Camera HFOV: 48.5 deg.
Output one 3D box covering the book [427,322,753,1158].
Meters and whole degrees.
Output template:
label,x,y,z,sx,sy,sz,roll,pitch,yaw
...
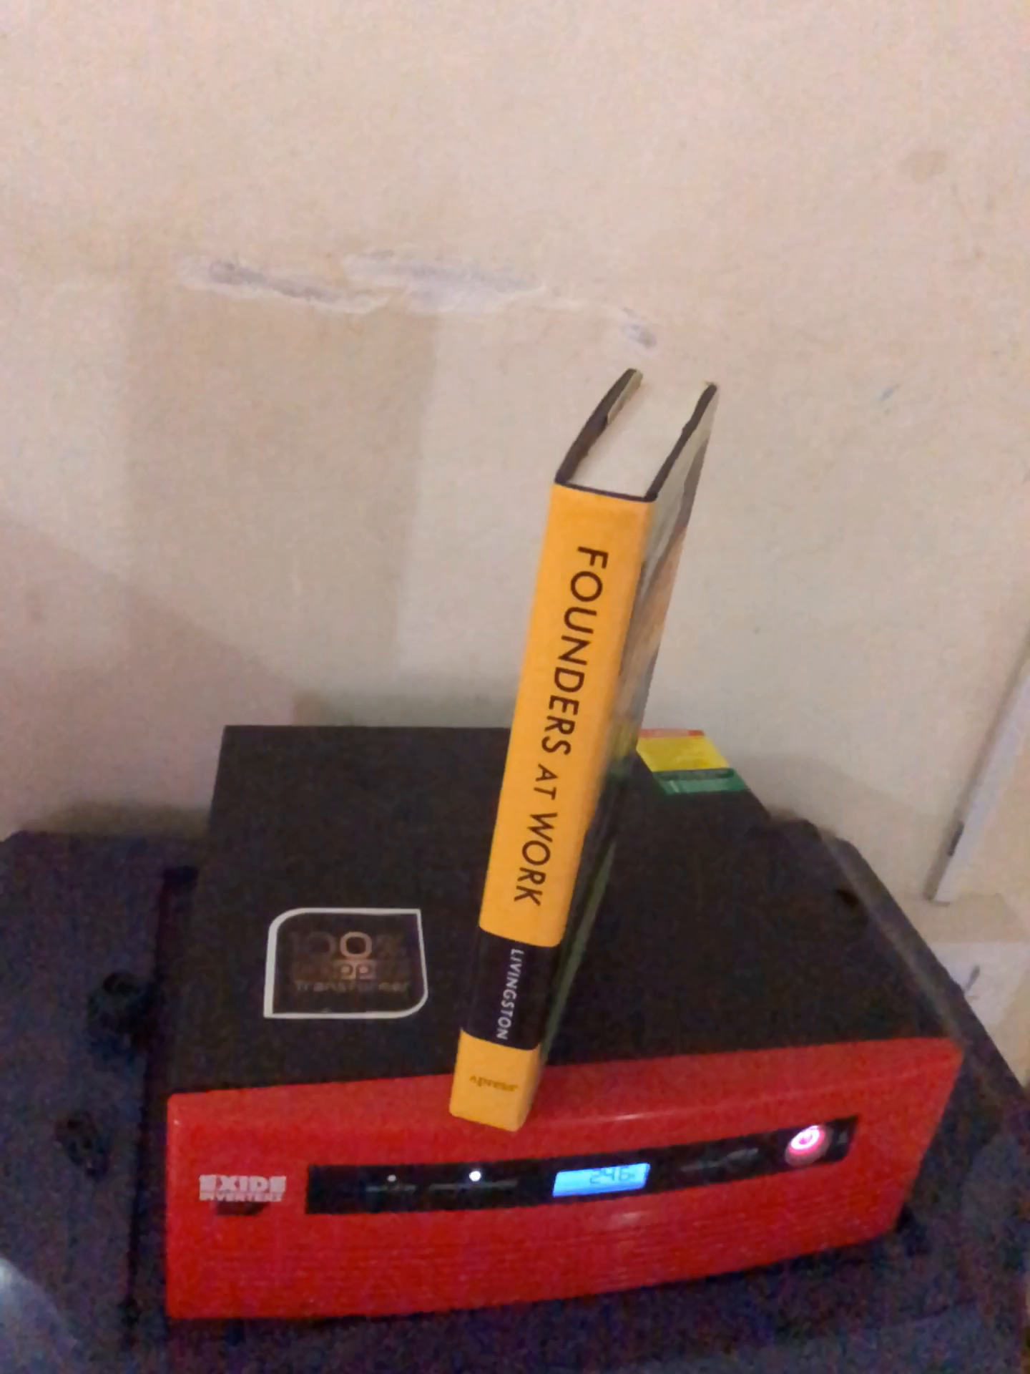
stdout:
label,x,y,z,sx,sy,sz,roll,pitch,yaw
book,0.029,0.012,0.420,0.040,0.249,0.181,15,30,10
